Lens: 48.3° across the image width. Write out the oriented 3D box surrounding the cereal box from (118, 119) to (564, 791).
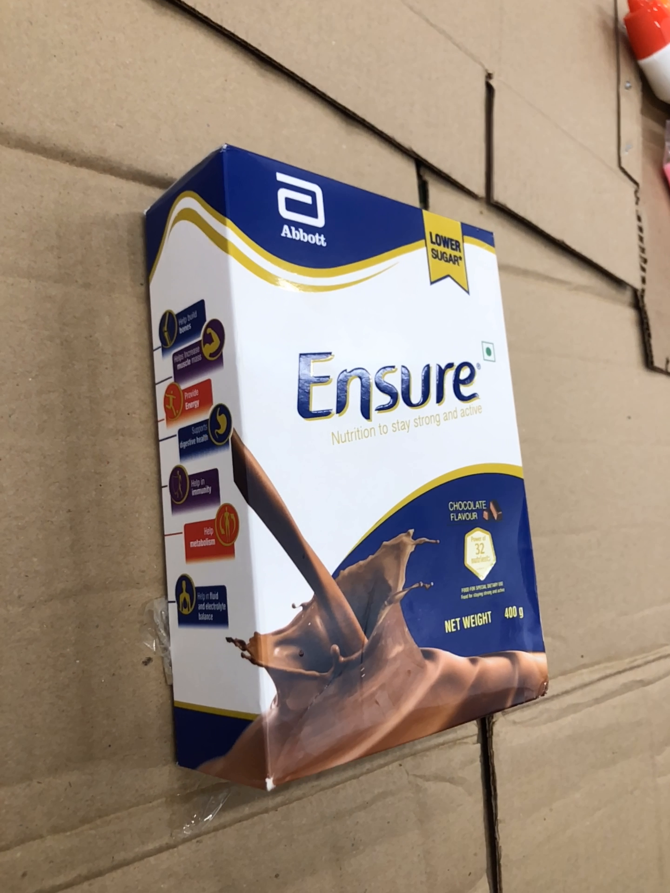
[{"bbox_3d":[0.007,0.002,0.262,0.141,0.050,0.180,1,79,-41],"label":"cereal box"}]
